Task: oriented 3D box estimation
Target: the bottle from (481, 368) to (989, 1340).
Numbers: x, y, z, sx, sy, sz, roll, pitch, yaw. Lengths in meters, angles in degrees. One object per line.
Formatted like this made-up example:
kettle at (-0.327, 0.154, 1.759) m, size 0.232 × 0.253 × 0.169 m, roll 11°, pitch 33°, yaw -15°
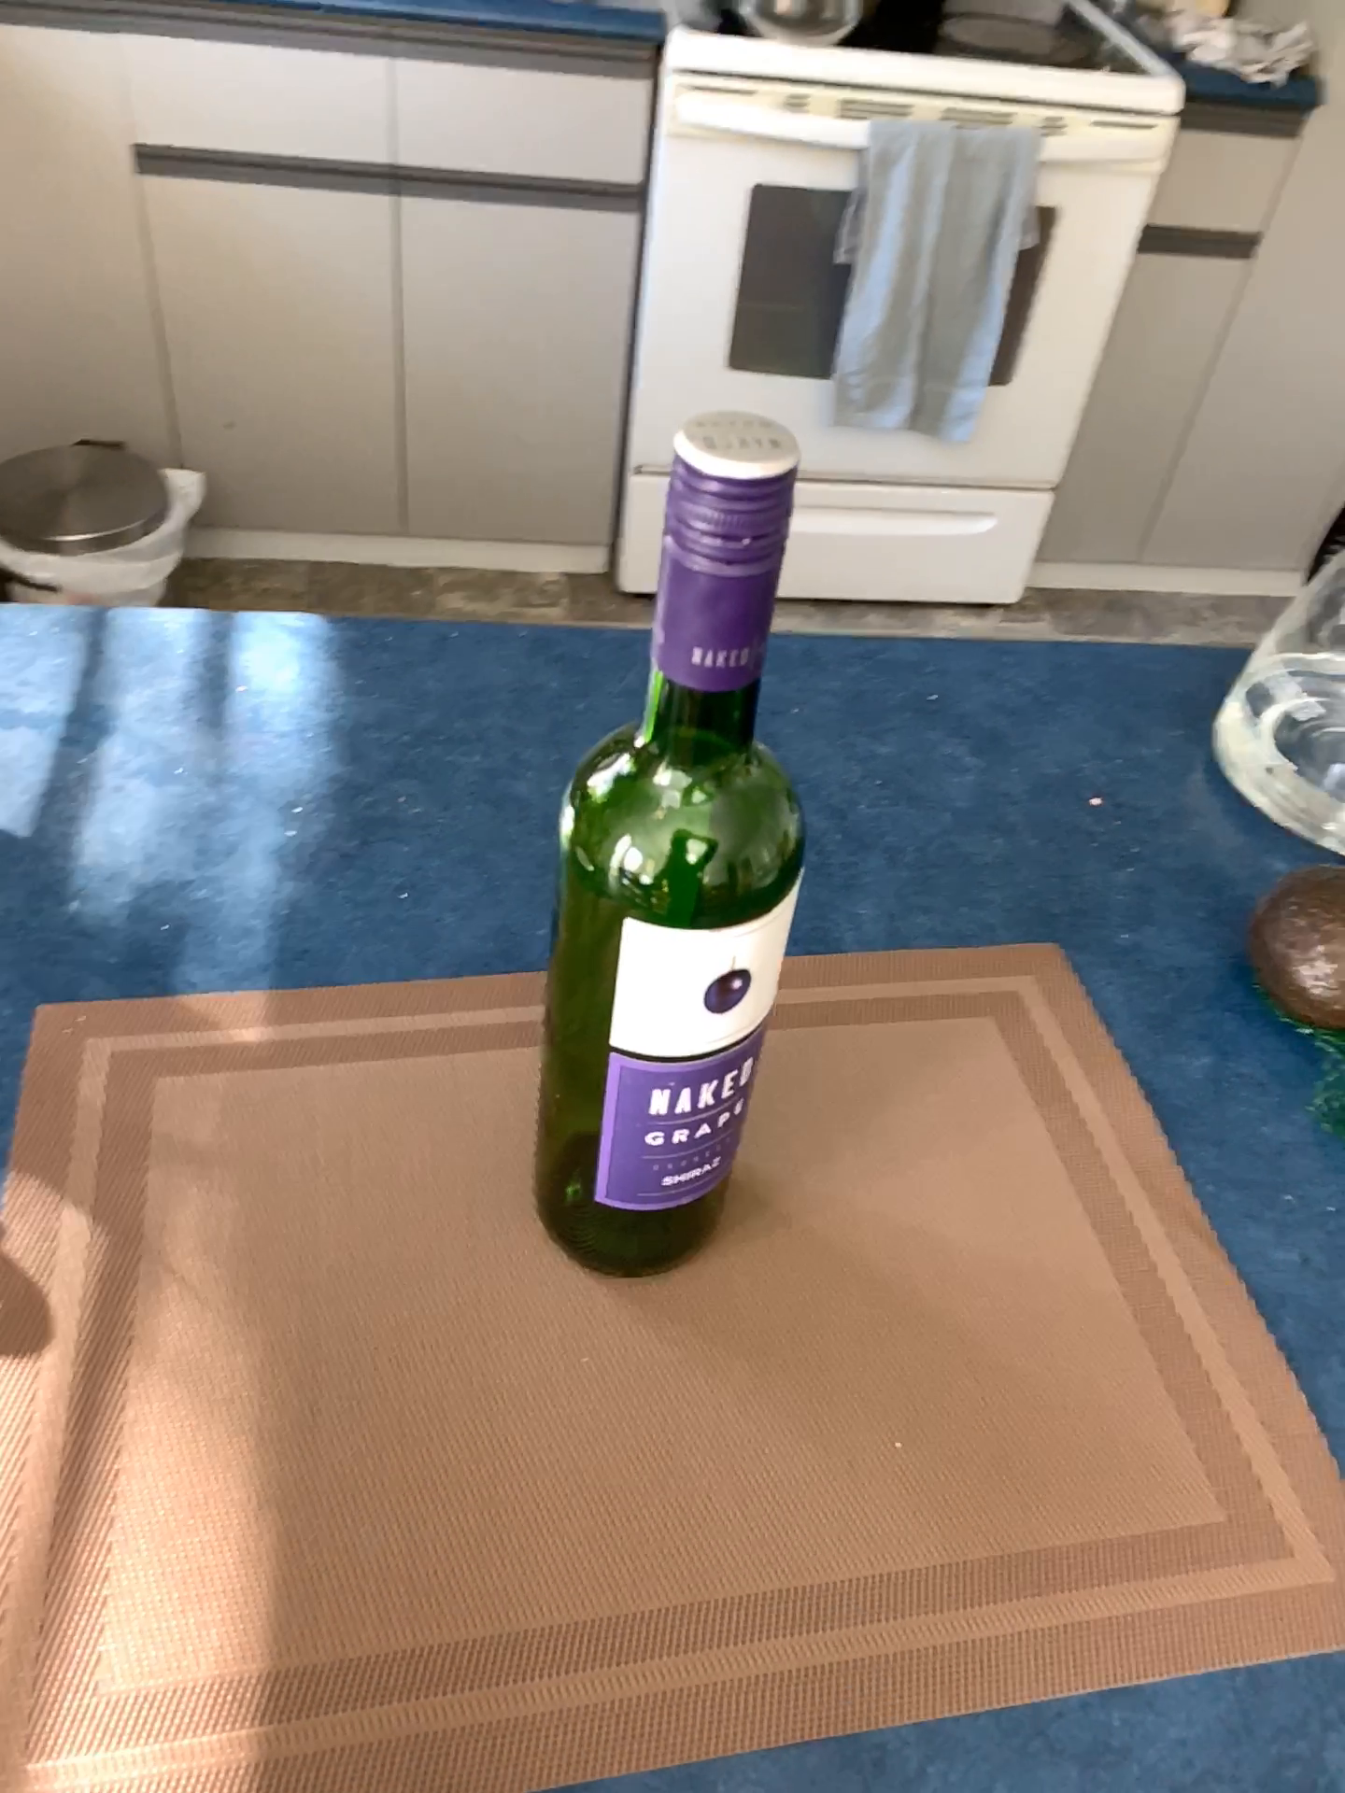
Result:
bottle at (-0.001, 0.008, 0.401) m, size 0.080 × 0.287 × 0.080 m, roll 4°, pitch 43°, yaw -4°
